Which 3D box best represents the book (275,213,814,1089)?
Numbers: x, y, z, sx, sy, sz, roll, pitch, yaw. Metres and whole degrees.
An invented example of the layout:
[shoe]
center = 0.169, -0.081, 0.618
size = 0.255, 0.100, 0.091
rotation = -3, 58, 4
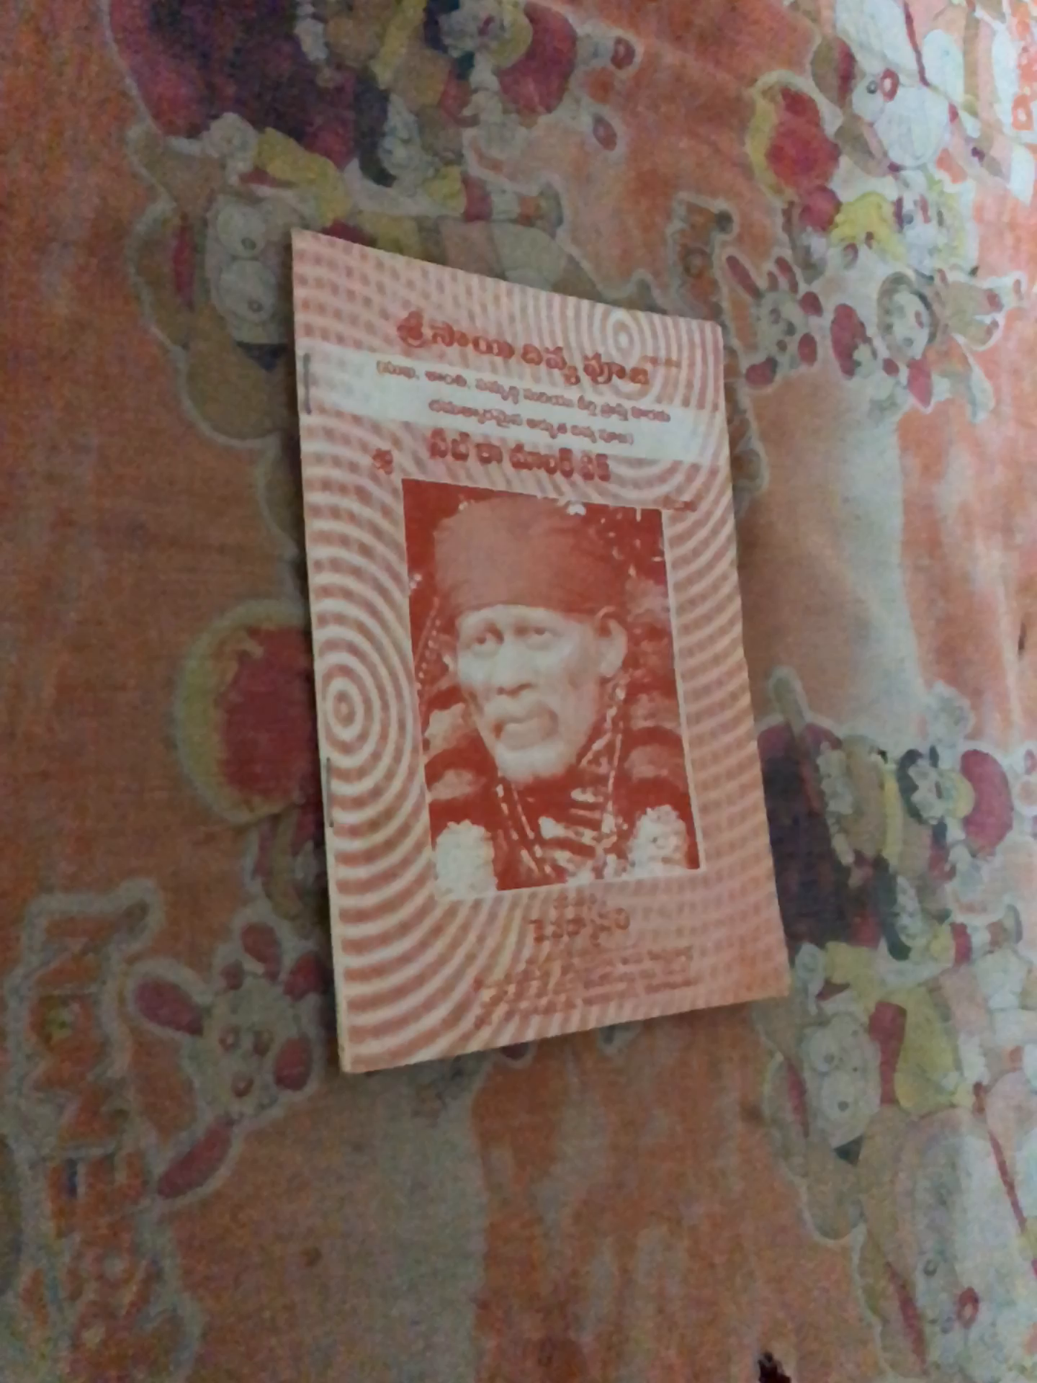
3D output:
[book]
center = 0.009, -0.011, 0.260
size = 0.120, 0.010, 0.173
rotation = 1, 79, -33
